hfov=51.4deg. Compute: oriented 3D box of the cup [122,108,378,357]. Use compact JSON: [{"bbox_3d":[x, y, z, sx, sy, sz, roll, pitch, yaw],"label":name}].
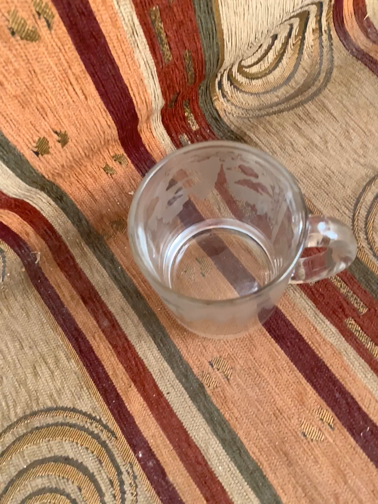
[{"bbox_3d":[0.035,-0.001,0.199,0.115,0.087,0.084,-7,67,4],"label":"cup"}]
